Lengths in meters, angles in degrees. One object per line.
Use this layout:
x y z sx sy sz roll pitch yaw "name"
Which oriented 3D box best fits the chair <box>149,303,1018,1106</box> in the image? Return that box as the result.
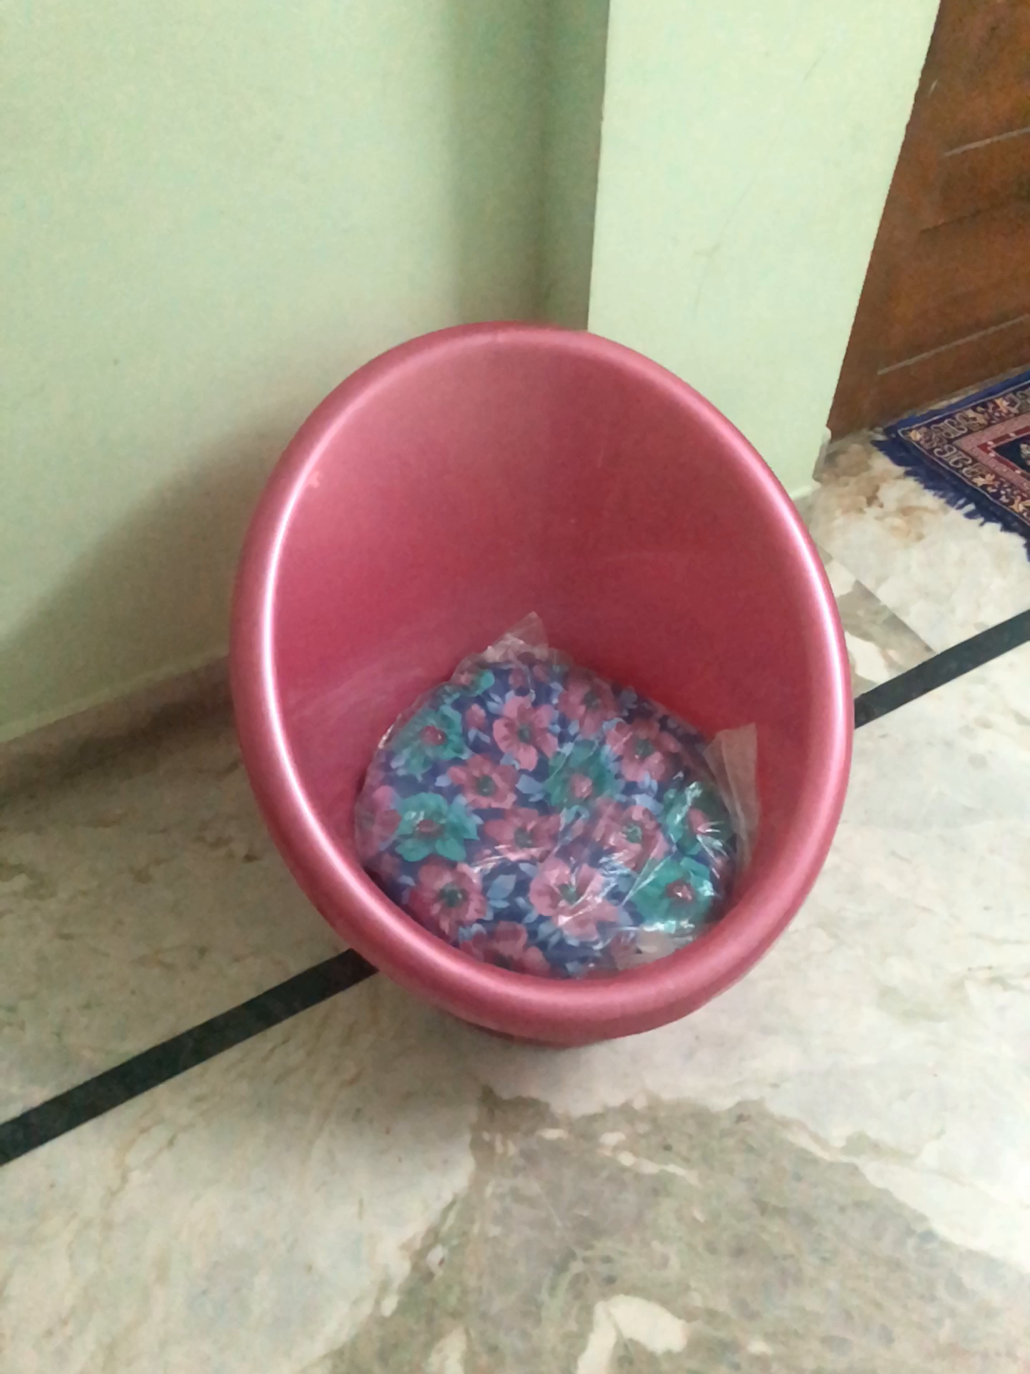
0.029 0.007 1.250 0.640 0.547 0.664 -3 48 -3 "chair"
